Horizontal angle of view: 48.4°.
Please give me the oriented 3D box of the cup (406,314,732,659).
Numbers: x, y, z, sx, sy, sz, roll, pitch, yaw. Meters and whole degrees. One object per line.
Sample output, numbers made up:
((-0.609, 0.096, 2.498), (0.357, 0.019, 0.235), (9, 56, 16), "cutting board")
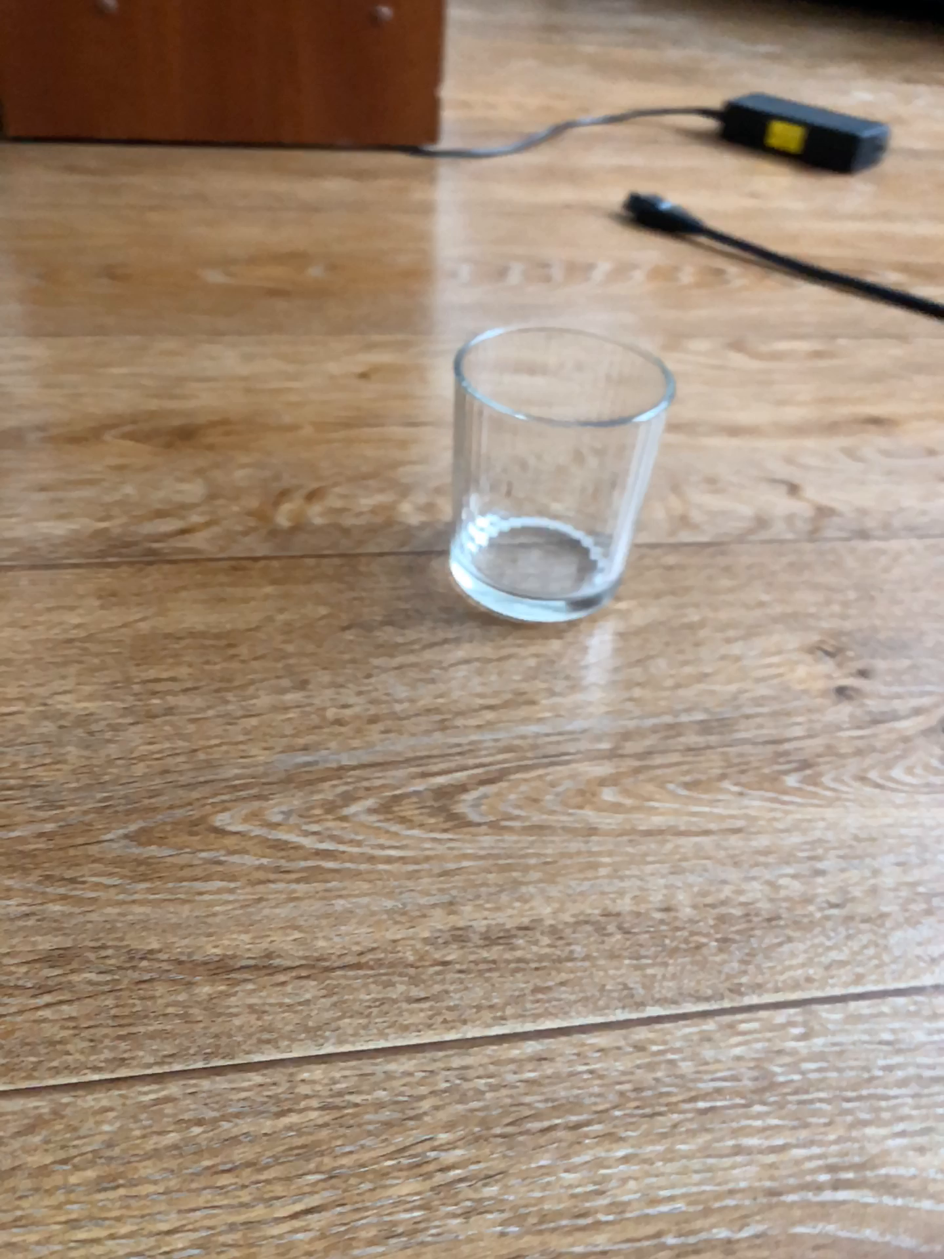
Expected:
((0.029, -0.053, 0.373), (0.075, 0.079, 0.078), (3, 39, -3), "cup")
